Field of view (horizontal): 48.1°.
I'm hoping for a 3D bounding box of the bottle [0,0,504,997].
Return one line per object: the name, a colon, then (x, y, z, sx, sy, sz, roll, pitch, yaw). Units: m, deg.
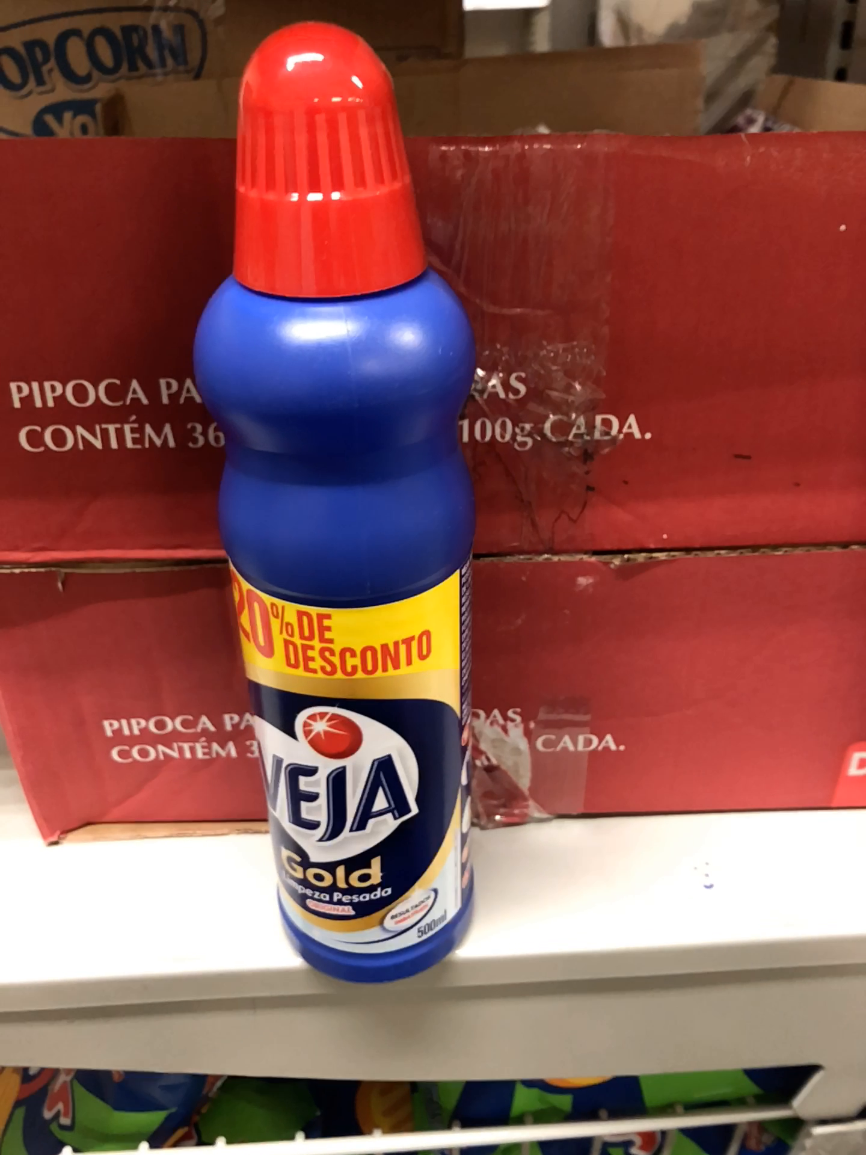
bottle: (-0.027, -0.006, 0.245, 0.070, 0.248, 0.070, -3, 34, 2)
